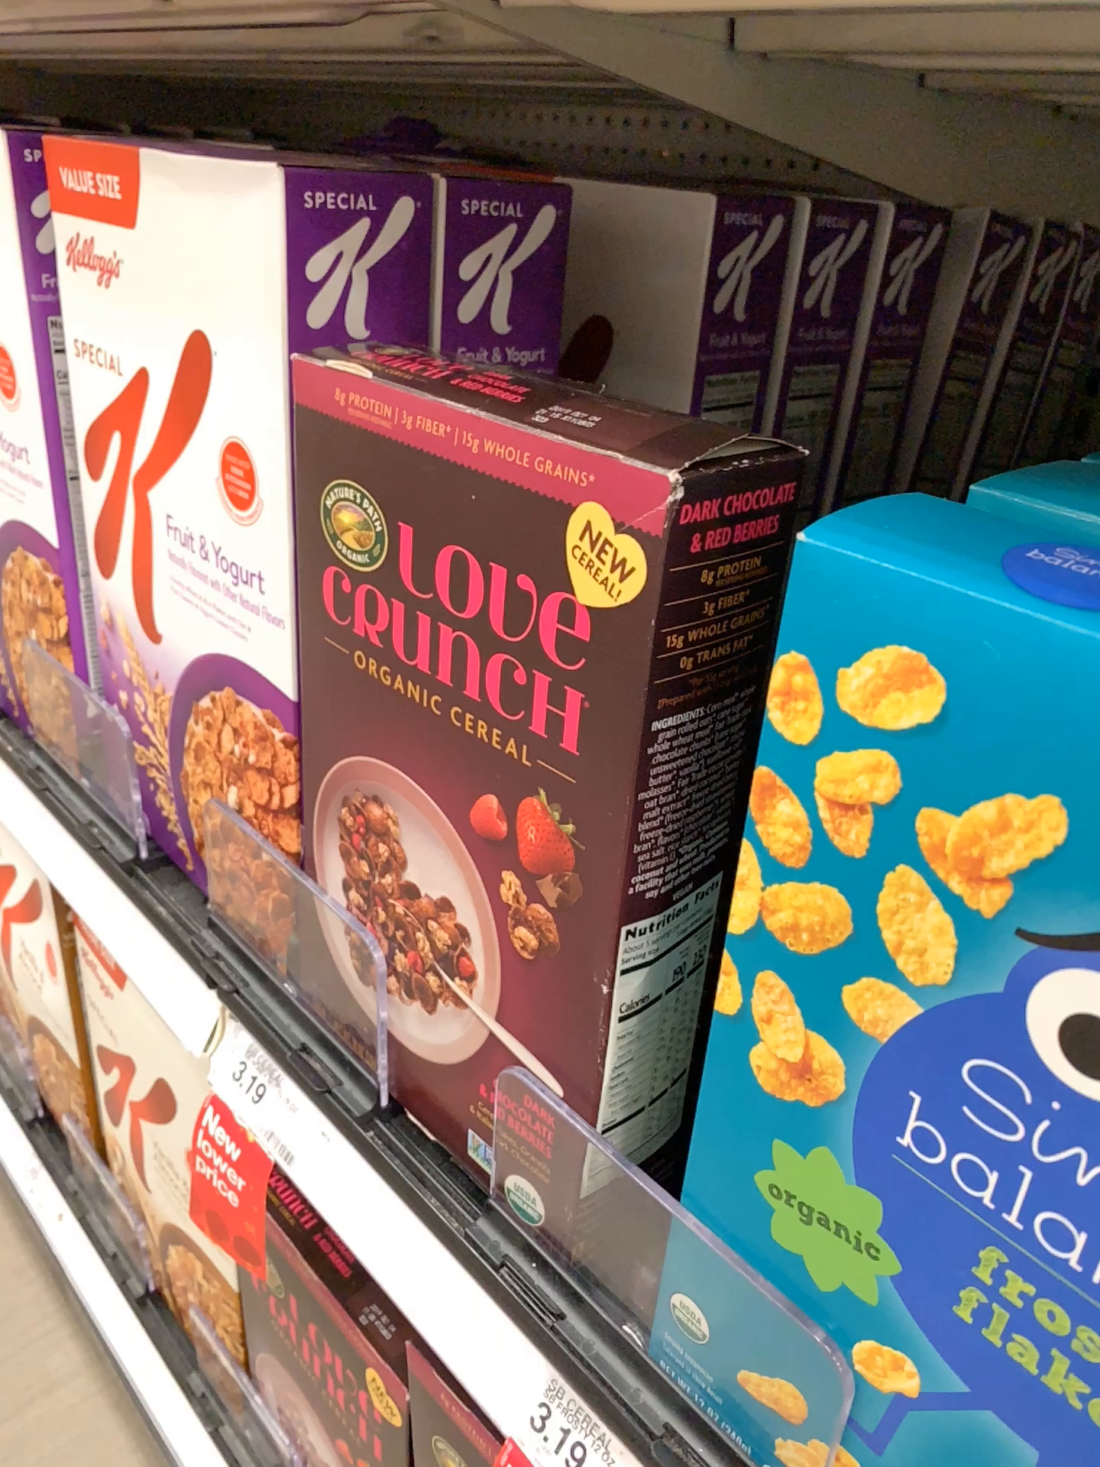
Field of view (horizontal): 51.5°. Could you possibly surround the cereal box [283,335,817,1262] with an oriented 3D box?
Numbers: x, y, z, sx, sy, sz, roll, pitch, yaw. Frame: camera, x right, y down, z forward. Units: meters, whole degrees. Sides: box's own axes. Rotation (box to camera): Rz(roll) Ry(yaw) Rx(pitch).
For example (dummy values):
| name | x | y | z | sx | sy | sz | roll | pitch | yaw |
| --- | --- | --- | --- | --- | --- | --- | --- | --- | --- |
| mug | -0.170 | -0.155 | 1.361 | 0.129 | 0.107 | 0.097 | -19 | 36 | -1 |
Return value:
| name | x | y | z | sx | sy | sz | roll | pitch | yaw |
| --- | --- | --- | --- | --- | --- | --- | --- | --- | --- |
| cereal box | -0.018 | 0.016 | 0.365 | 0.050 | 0.249 | 0.160 | -19 | 35 | -39 |
